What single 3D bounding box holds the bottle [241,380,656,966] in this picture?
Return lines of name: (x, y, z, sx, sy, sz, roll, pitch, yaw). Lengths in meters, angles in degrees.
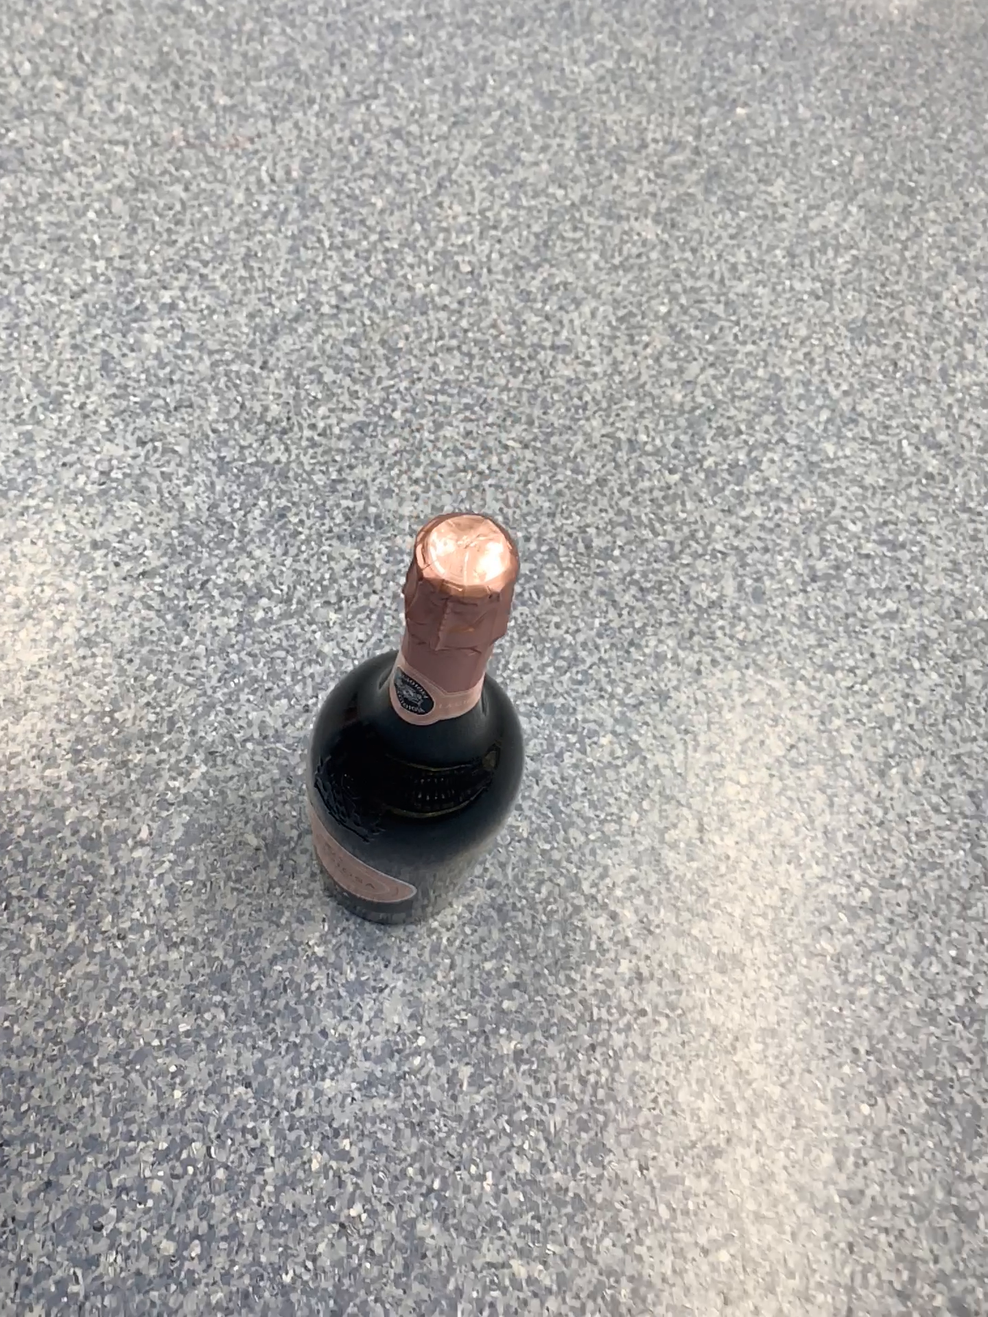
bottle: (-0.035, 0.030, 0.408, 0.079, 0.269, 0.094, -36, 73, -26)
